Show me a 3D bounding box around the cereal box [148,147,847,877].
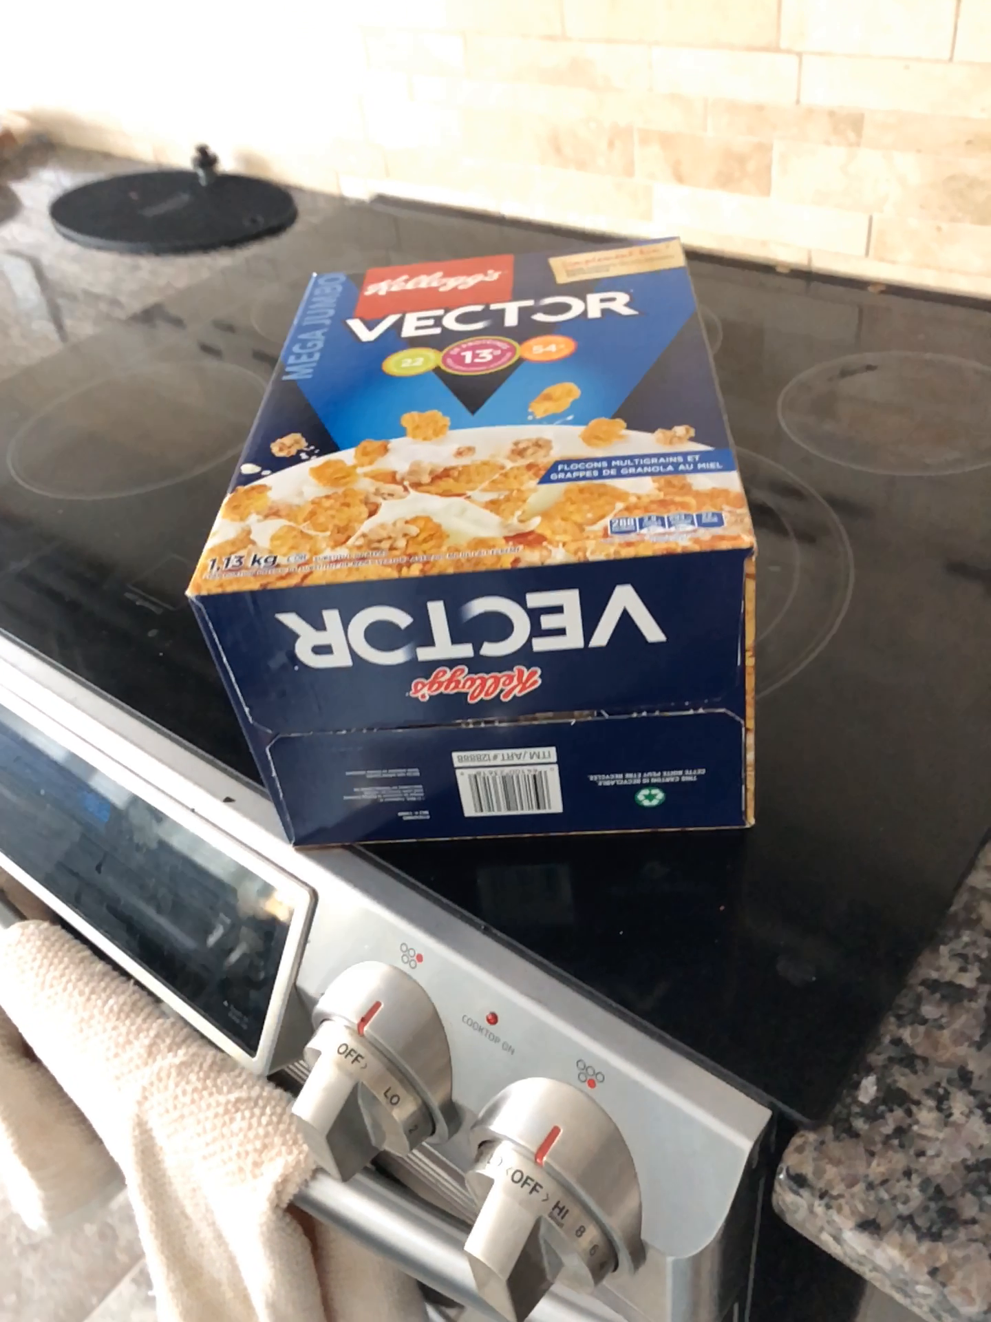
[{"bbox_3d":[0.010,-0.083,0.514,0.220,0.169,0.311,-3,45,5],"label":"cereal box"}]
